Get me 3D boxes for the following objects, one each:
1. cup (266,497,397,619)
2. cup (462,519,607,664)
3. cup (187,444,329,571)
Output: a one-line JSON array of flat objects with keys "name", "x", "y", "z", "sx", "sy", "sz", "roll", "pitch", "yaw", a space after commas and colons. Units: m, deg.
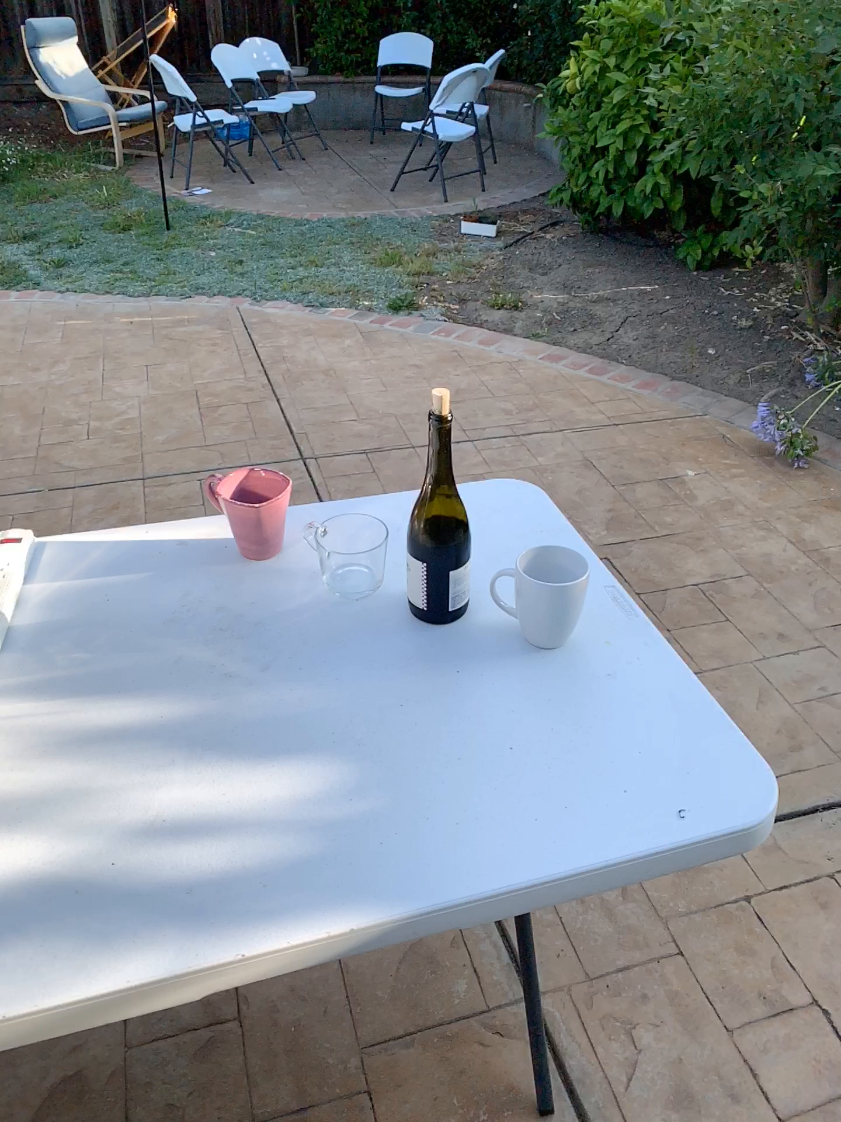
[{"name": "cup", "x": -0.122, "y": -0.007, "z": 1.198, "sx": 0.140, "sy": 0.089, "sz": 0.110, "roll": 21, "pitch": 40, "yaw": 26}, {"name": "cup", "x": 0.138, "y": 0.034, "z": 1.042, "sx": 0.140, "sy": 0.099, "sz": 0.111, "roll": 15, "pitch": 37, "yaw": 19}, {"name": "cup", "x": -0.213, "y": -0.075, "z": 1.137, "sx": 0.140, "sy": 0.089, "sz": 0.110, "roll": 23, "pitch": 41, "yaw": 29}]
